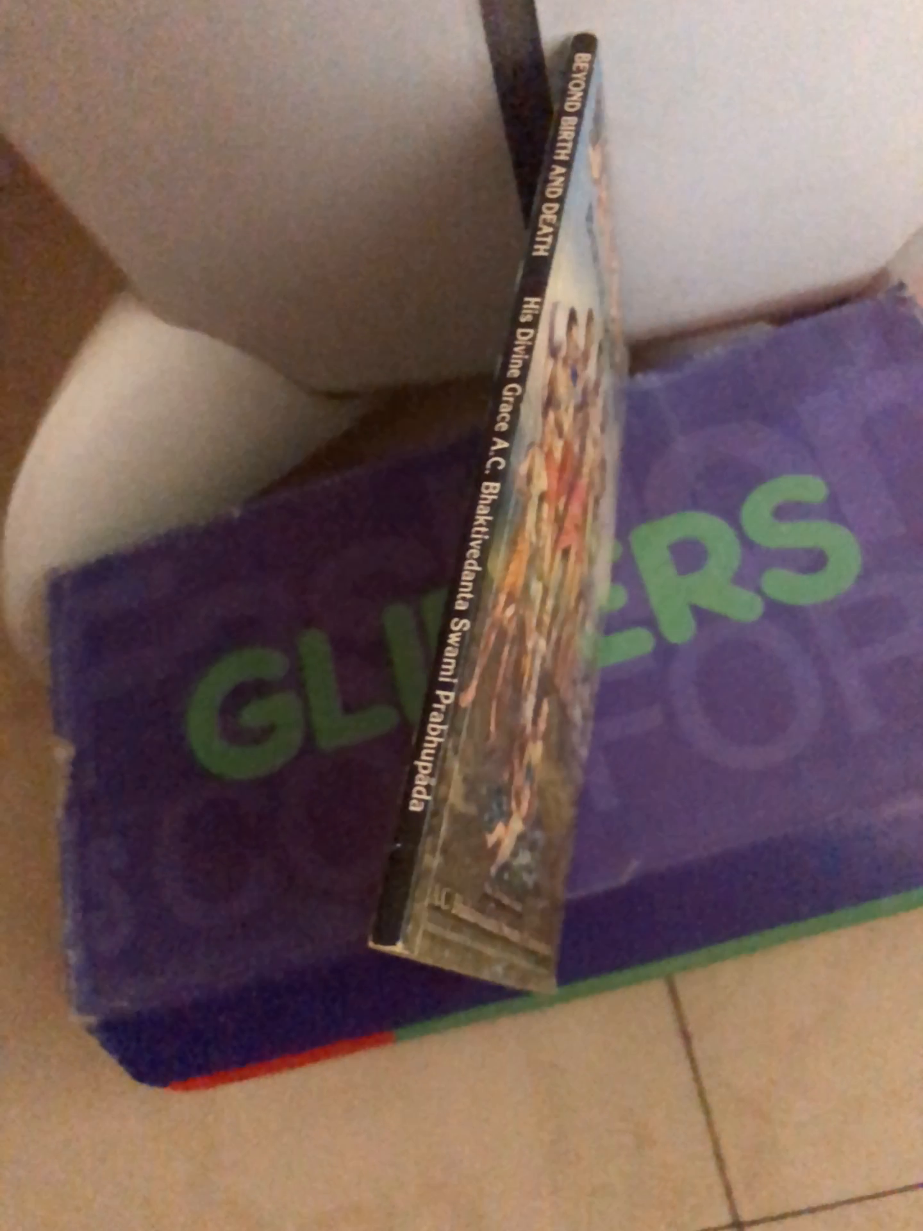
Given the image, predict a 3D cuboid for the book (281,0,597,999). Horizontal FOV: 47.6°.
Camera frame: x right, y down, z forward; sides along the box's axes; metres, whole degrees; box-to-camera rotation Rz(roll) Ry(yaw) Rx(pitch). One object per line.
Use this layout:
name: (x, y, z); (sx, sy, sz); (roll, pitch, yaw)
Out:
book: (0.008, -0.019, 0.235); (0.010, 0.120, 0.190); (5, 67, 15)
